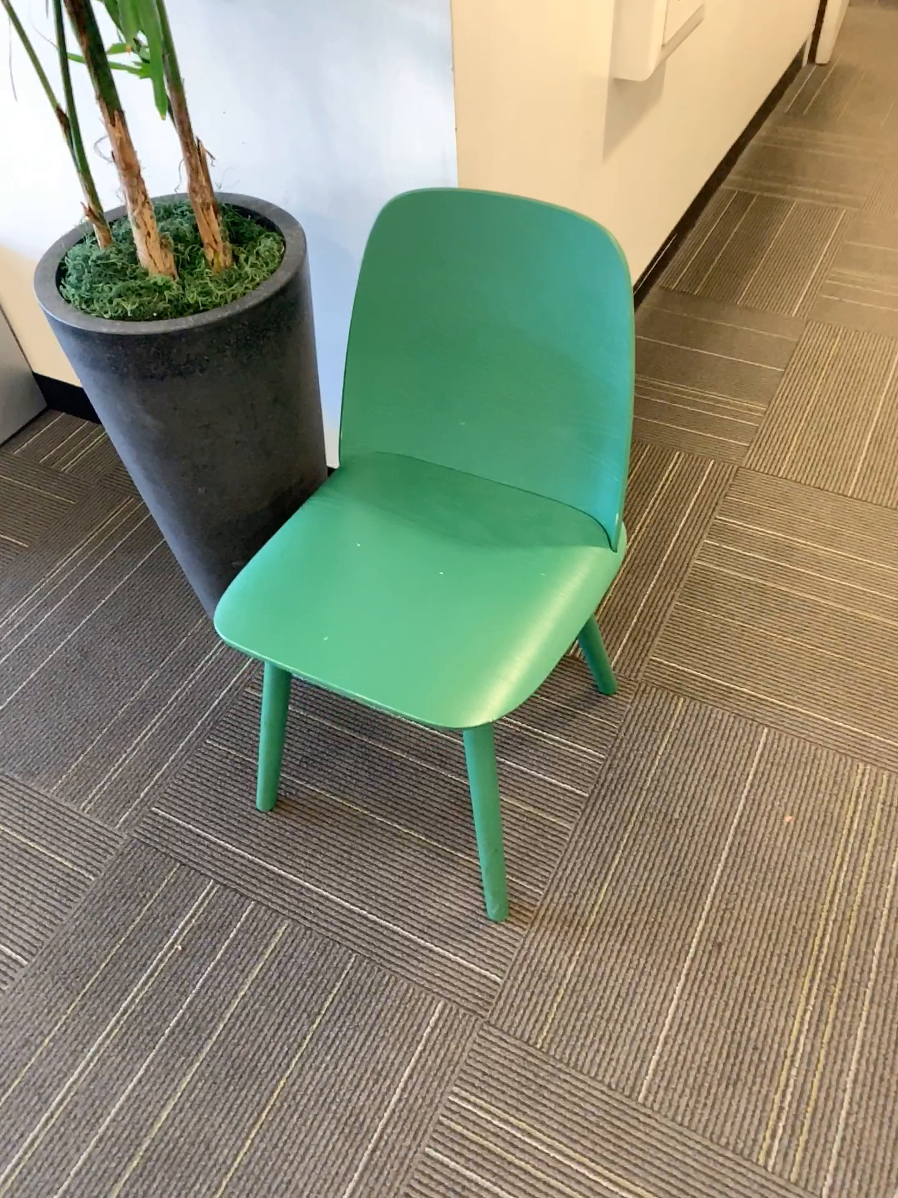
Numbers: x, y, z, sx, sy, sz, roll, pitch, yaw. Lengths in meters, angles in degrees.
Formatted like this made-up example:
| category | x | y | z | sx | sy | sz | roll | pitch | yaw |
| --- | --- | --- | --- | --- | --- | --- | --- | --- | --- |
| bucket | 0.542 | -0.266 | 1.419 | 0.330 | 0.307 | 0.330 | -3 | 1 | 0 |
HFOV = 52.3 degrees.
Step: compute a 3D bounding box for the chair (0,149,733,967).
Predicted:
| category | x | y | z | sx | sy | sz | roll | pitch | yaw |
| --- | --- | --- | --- | --- | --- | --- | --- | --- | --- |
| chair | -0.031 | -0.044 | 1.190 | 0.501 | 0.747 | 0.601 | 19 | 53 | 20 |
